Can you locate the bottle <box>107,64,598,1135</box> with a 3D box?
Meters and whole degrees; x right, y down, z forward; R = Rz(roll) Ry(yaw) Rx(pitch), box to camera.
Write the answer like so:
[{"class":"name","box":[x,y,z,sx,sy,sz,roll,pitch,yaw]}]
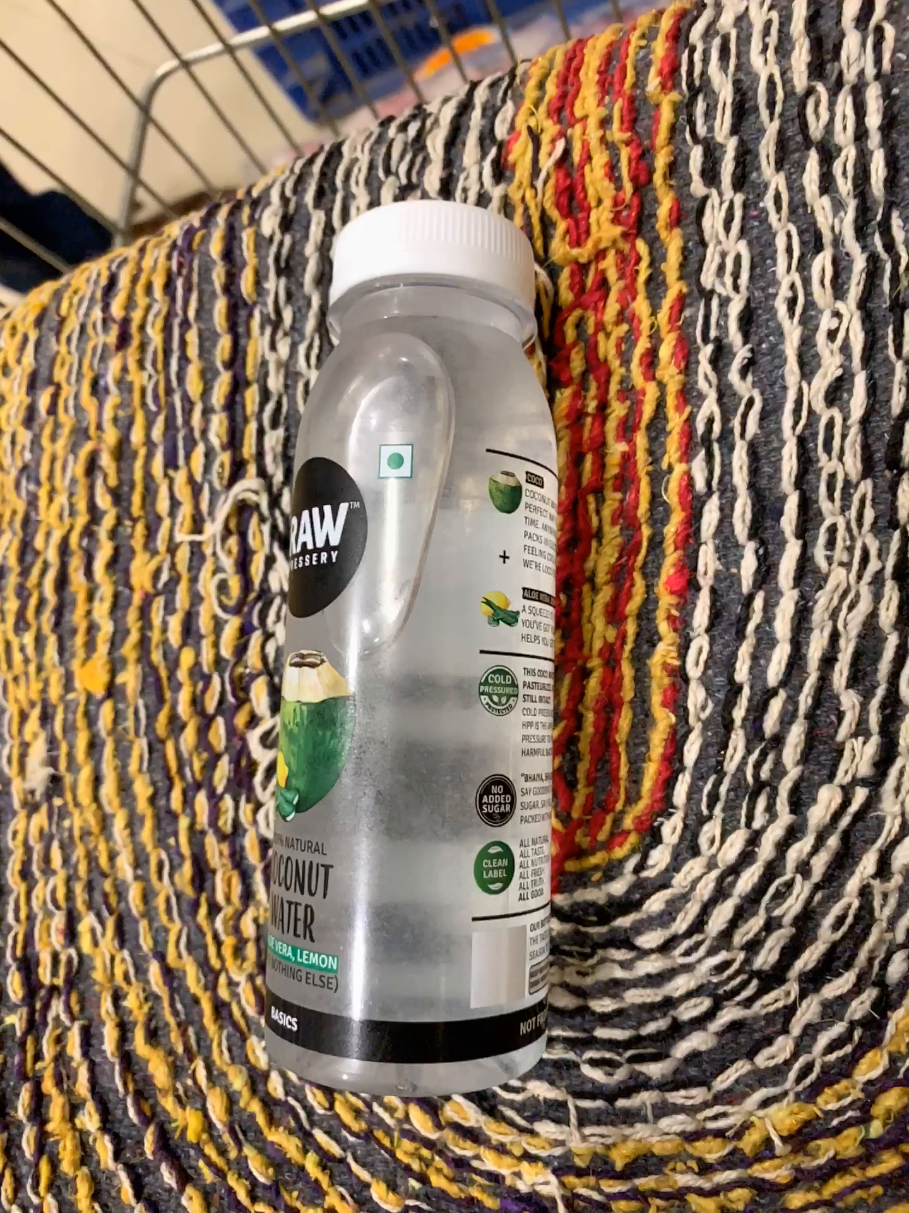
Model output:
[{"class":"bottle","box":[-0.016,-0.002,0.170,0.060,0.050,0.150,-6,78,45]}]
